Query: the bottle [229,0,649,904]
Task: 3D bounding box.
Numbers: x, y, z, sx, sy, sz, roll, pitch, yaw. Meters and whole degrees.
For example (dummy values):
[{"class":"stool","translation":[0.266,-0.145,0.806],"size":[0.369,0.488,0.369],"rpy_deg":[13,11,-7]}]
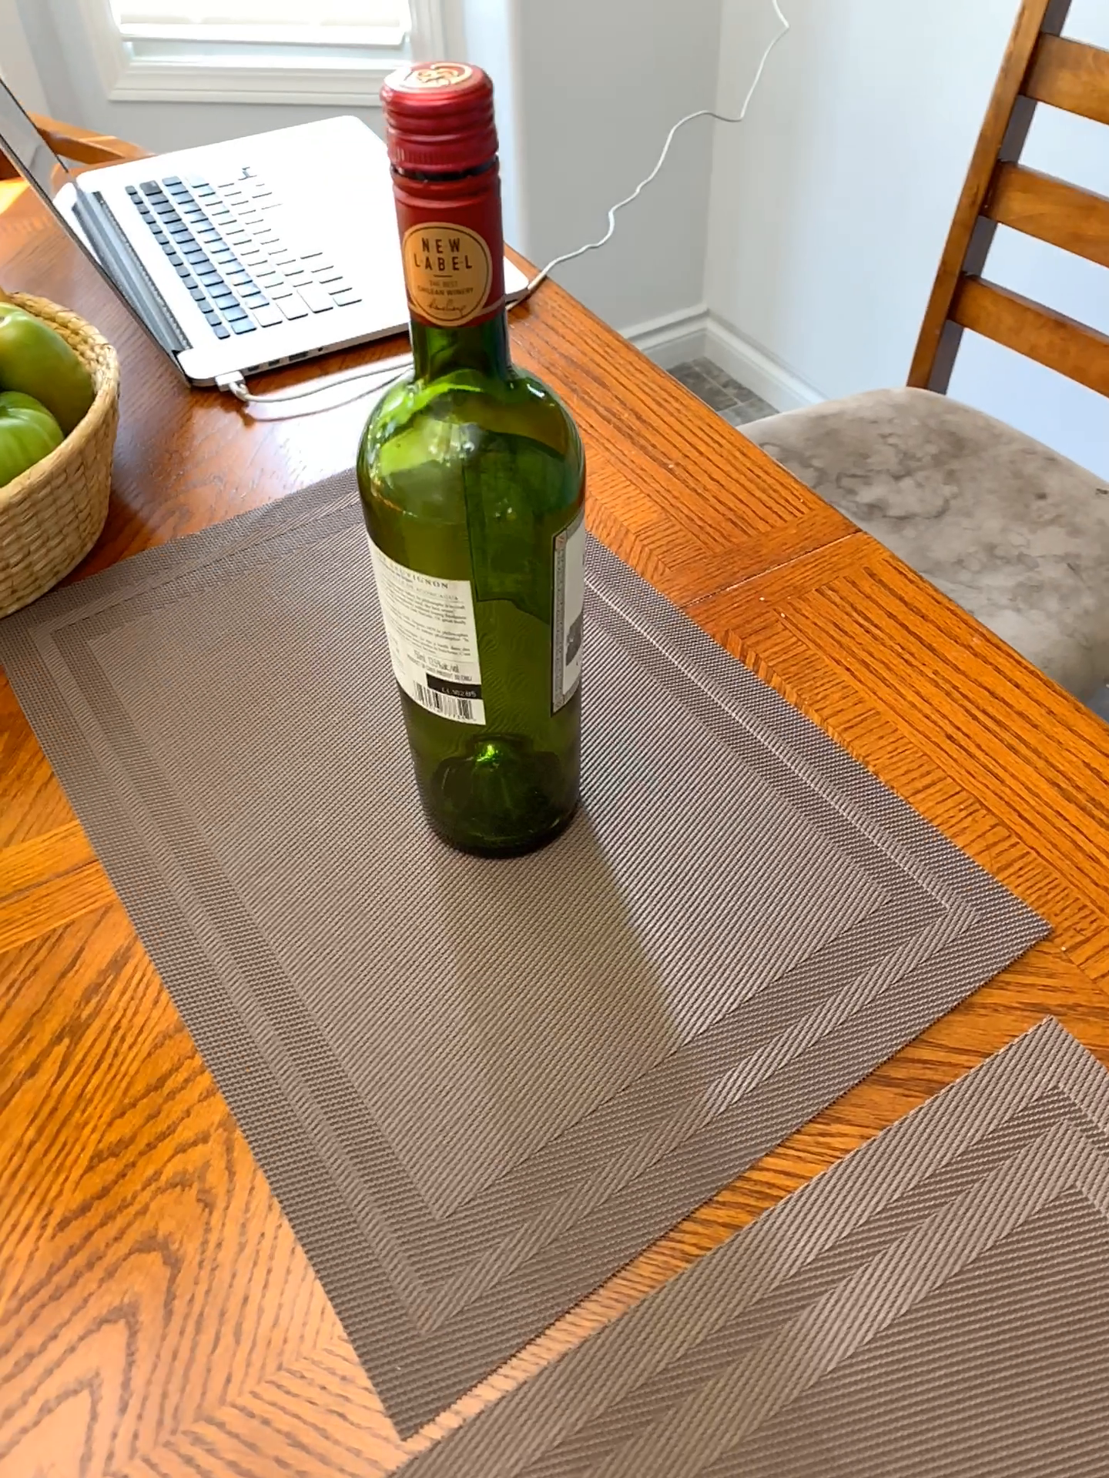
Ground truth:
[{"class":"bottle","translation":[-0.030,-0.077,0.413],"size":[0.080,0.307,0.091],"rpy_deg":[-23,51,-18]}]
